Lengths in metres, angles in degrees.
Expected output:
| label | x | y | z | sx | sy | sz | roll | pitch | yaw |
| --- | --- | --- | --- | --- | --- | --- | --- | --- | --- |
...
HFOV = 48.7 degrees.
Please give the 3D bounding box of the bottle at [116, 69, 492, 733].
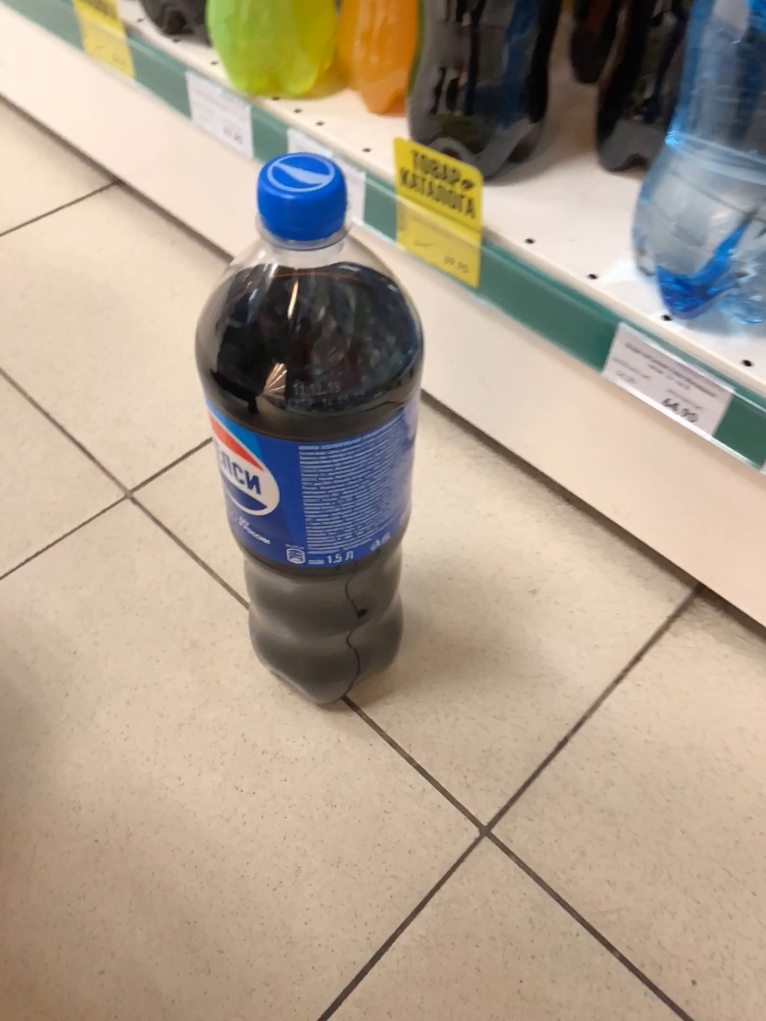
| label | x | y | z | sx | sy | sz | roll | pitch | yaw |
| --- | --- | --- | --- | --- | --- | --- | --- | --- | --- |
| bottle | -0.031 | -0.018 | 0.399 | 0.085 | 0.315 | 0.089 | 1 | 52 | -1 |
